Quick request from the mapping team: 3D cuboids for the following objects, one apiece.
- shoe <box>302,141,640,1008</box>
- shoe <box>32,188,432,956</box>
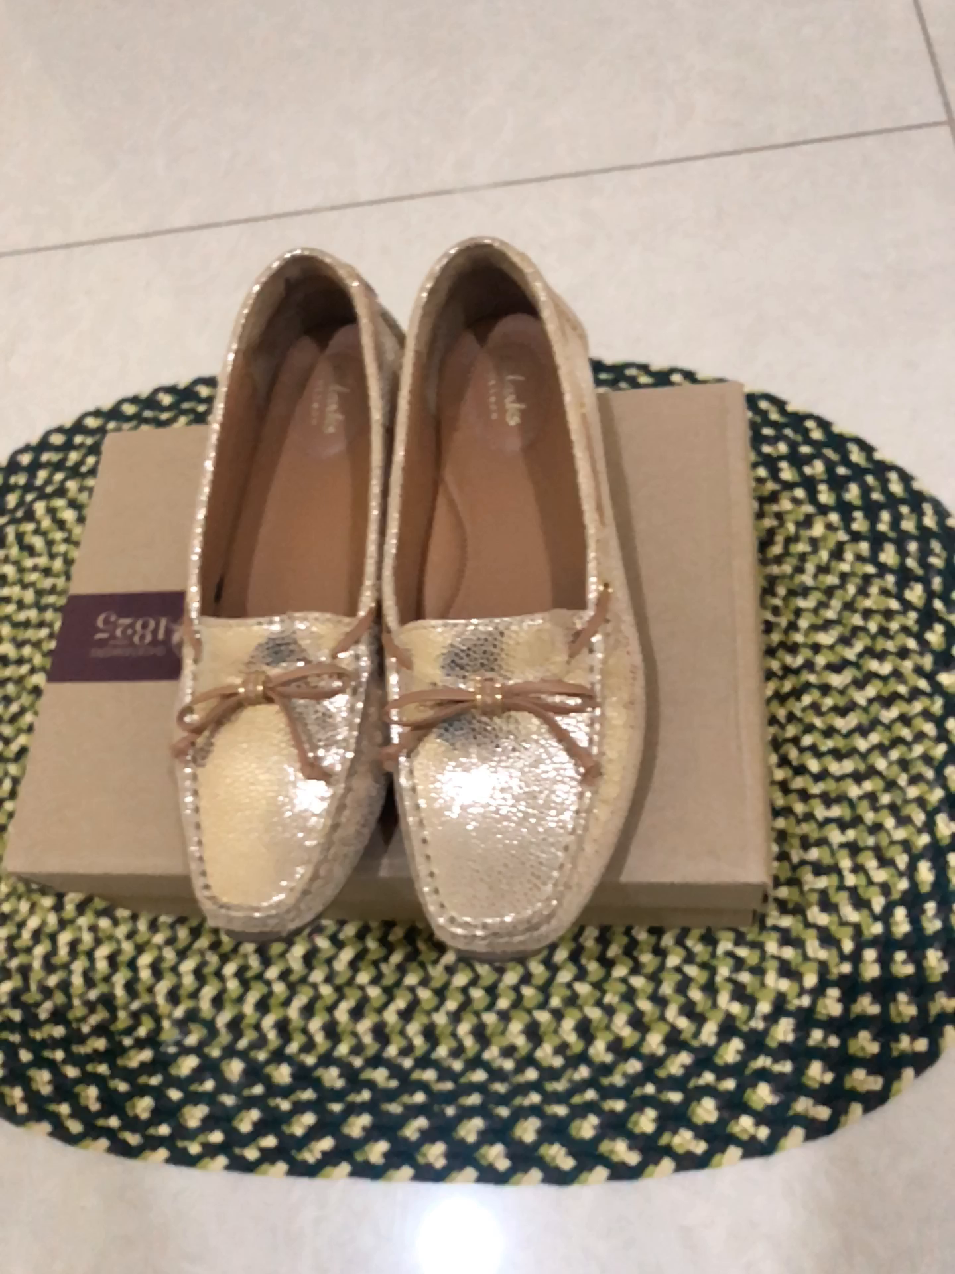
[{"bbox_3d":[0.007,-0.036,0.380,0.090,0.060,0.310,-2,64,10],"label":"shoe"},{"bbox_3d":[-0.075,-0.034,0.391,0.090,0.060,0.280,-2,64,10],"label":"shoe"}]
